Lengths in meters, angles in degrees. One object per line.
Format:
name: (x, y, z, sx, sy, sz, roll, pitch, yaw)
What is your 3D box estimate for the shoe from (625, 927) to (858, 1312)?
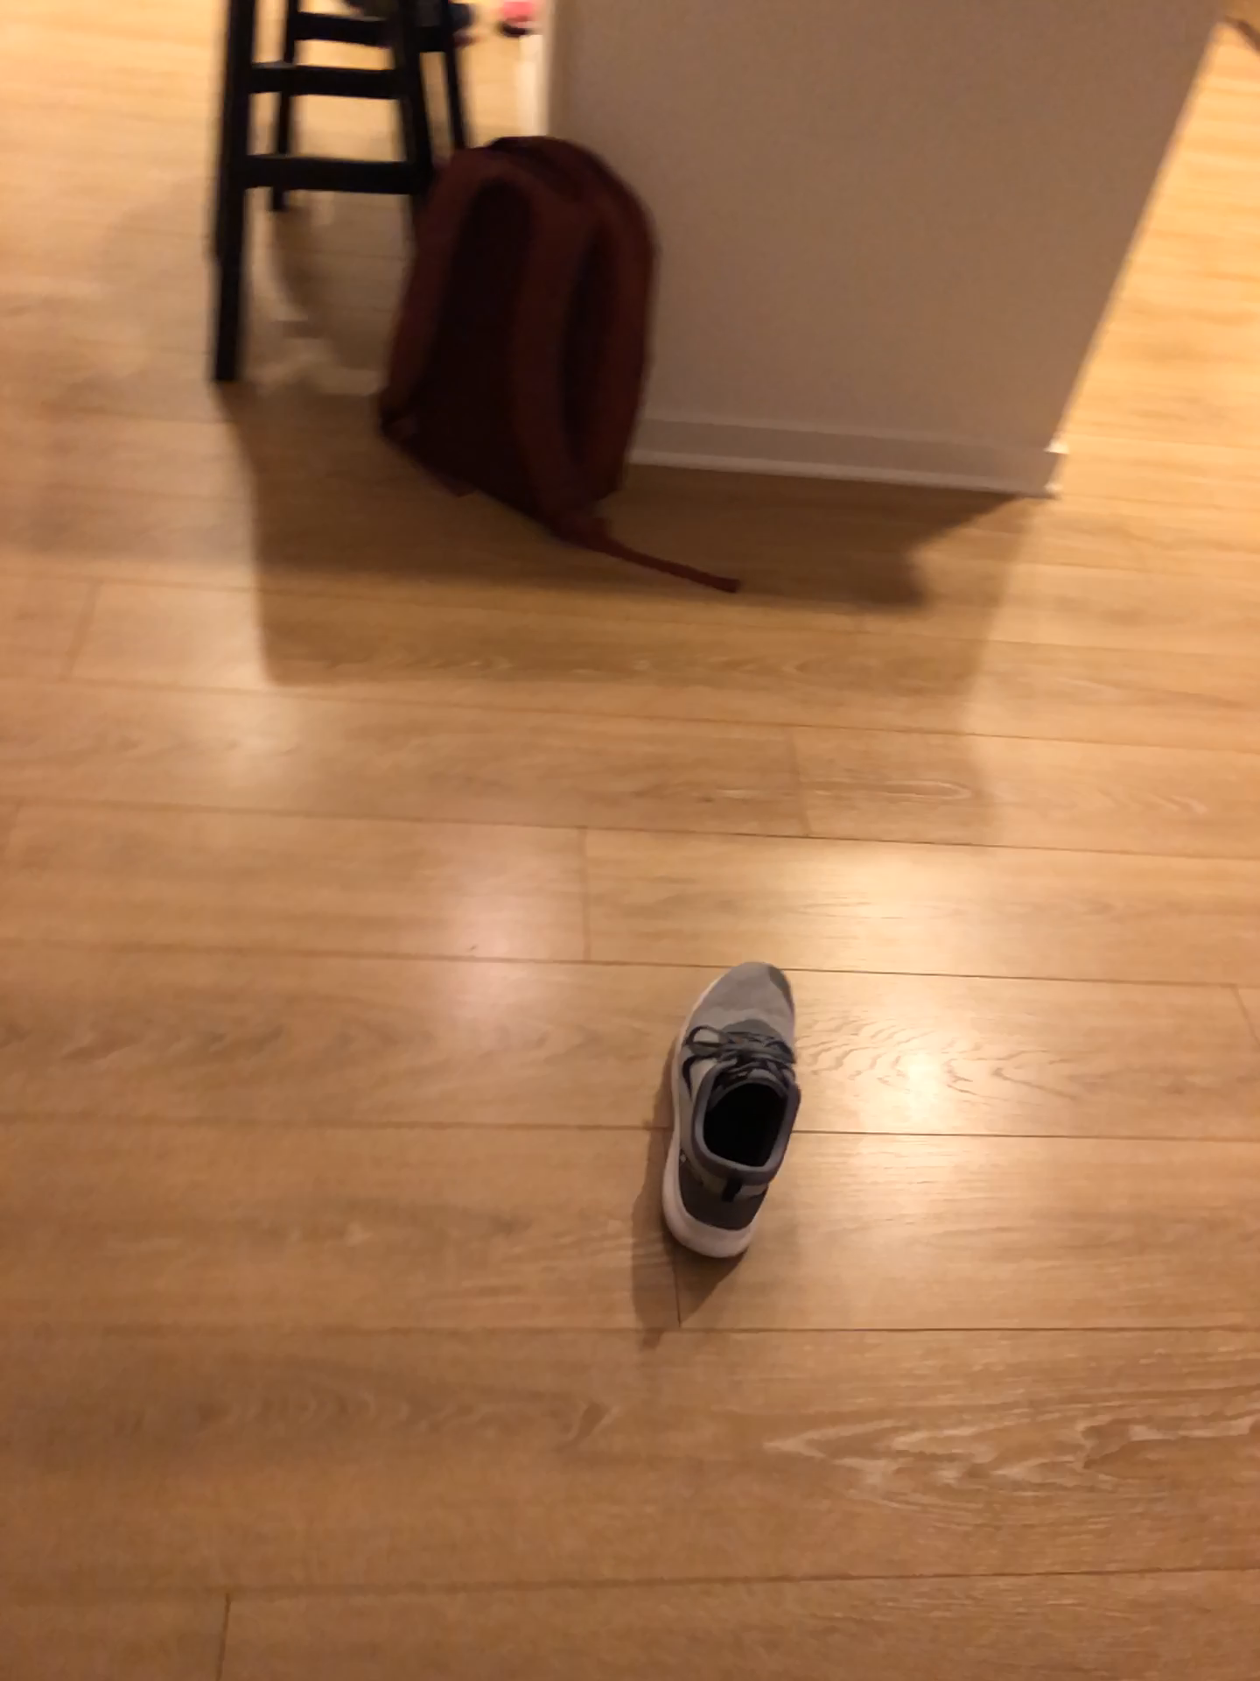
shoe: (0.103, 0.232, 1.203, 0.140, 0.089, 0.302, 14, 47, 4)
